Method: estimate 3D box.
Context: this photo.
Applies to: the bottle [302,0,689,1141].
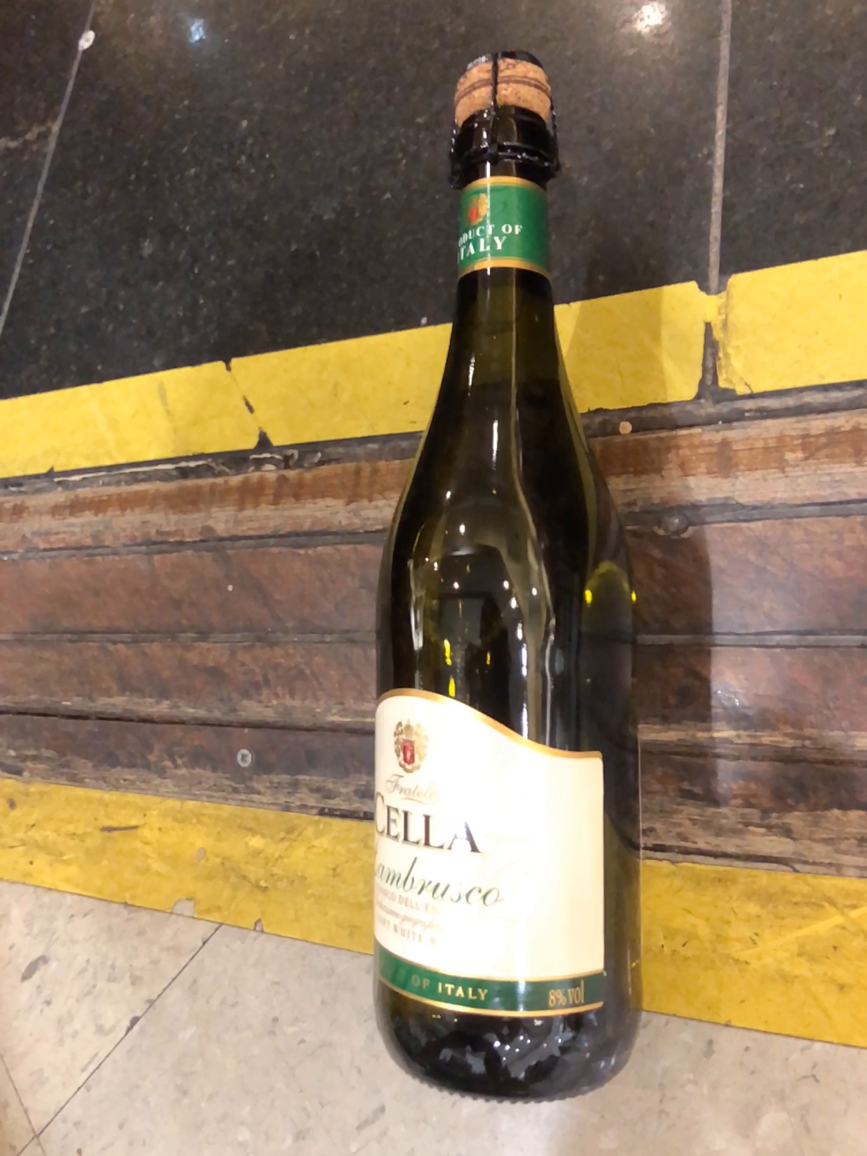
[{"bbox_3d":[0.018,-0.017,0.286,0.090,0.060,0.310,-3,87,29],"label":"bottle"}]
